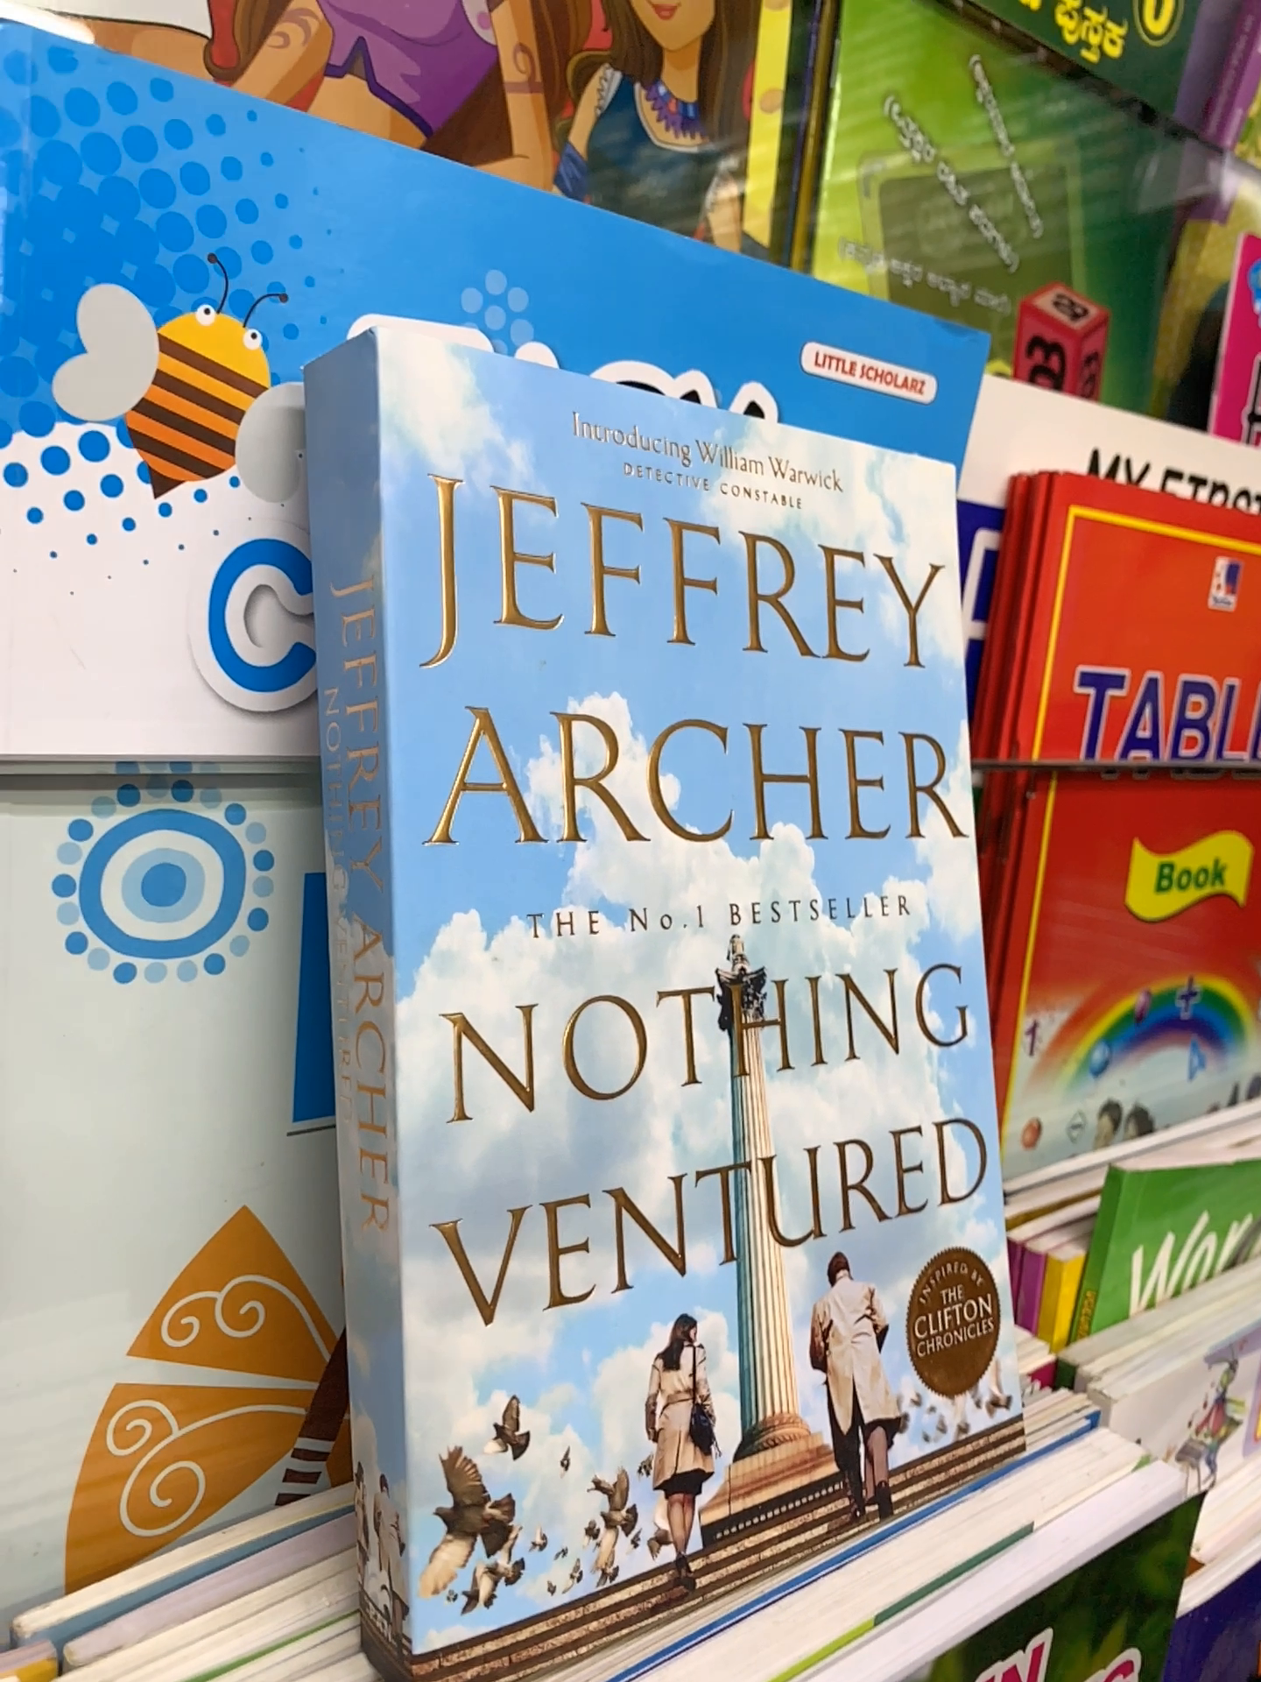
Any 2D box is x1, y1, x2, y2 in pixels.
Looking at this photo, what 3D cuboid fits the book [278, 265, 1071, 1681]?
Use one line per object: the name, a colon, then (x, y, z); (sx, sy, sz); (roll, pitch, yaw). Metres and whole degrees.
book: (0.013, 0.018, 0.219); (0.130, 0.190, 0.030); (-1, -4, -36)
